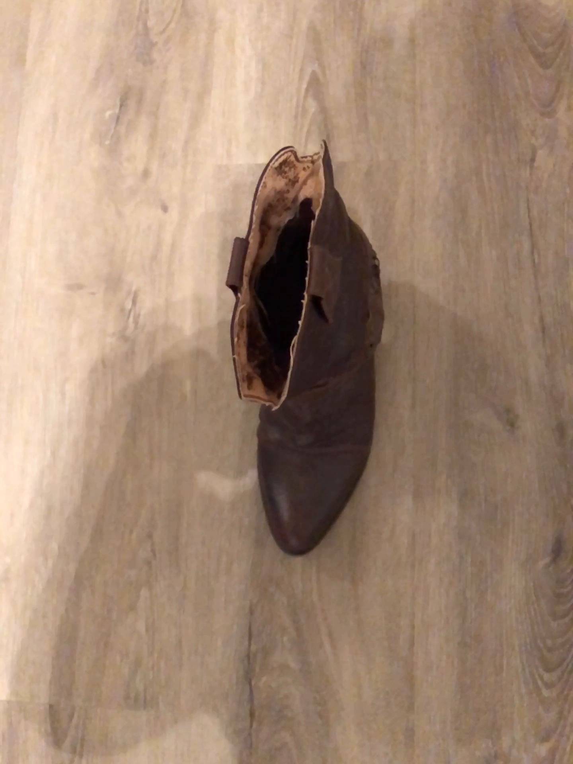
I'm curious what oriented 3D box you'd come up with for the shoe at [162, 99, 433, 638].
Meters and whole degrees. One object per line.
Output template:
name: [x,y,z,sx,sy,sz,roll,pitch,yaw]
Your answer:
shoe: [0.018,0.001,0.391,0.100,0.210,0.240,5,81,7]
